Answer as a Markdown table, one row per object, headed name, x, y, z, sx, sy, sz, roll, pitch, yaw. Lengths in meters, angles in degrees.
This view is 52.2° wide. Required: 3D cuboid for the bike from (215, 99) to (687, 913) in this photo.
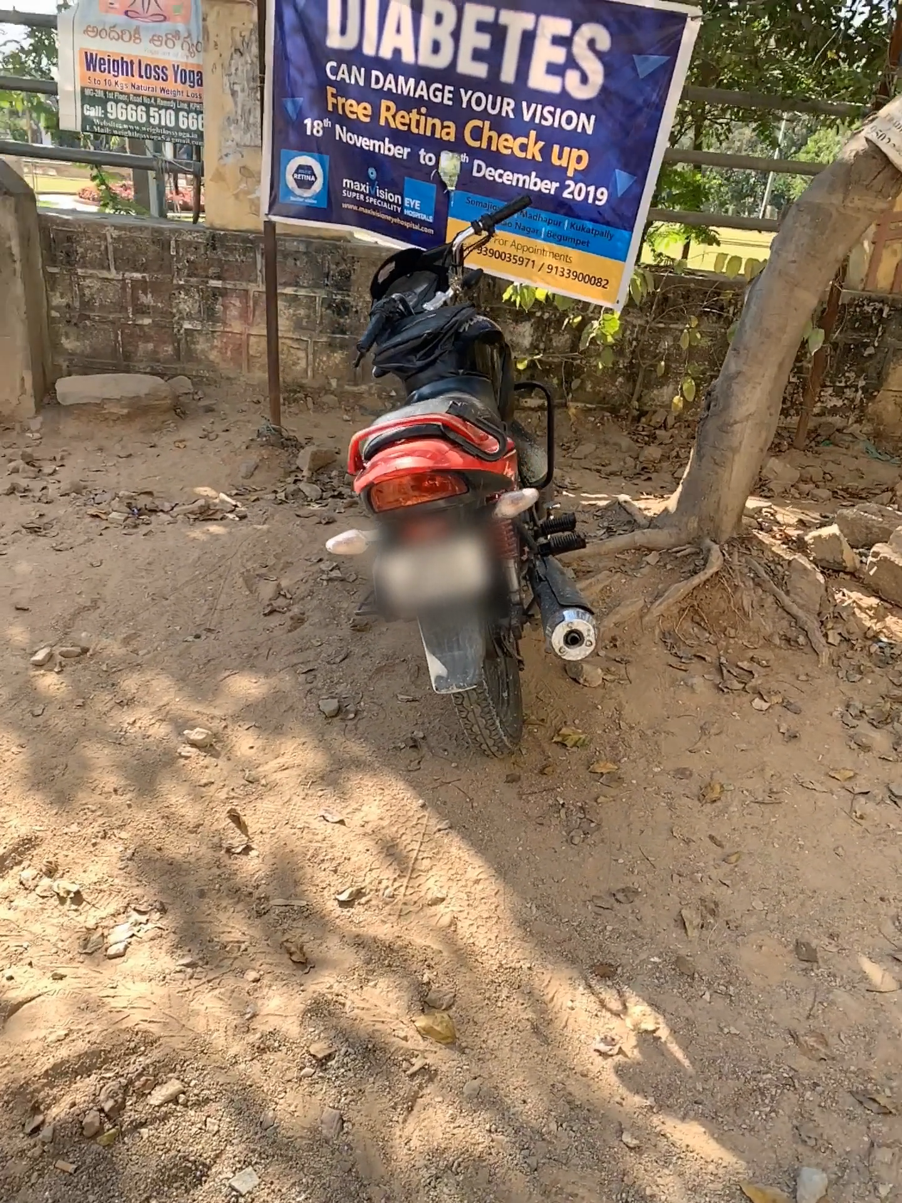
| name | x | y | z | sx | sy | sz | roll | pitch | yaw |
| --- | --- | --- | --- | --- | --- | --- | --- | --- | --- |
| bike | -0.135 | -0.421 | 2.440 | 0.751 | 1.441 | 1.624 | 3 | 28 | -7 |
